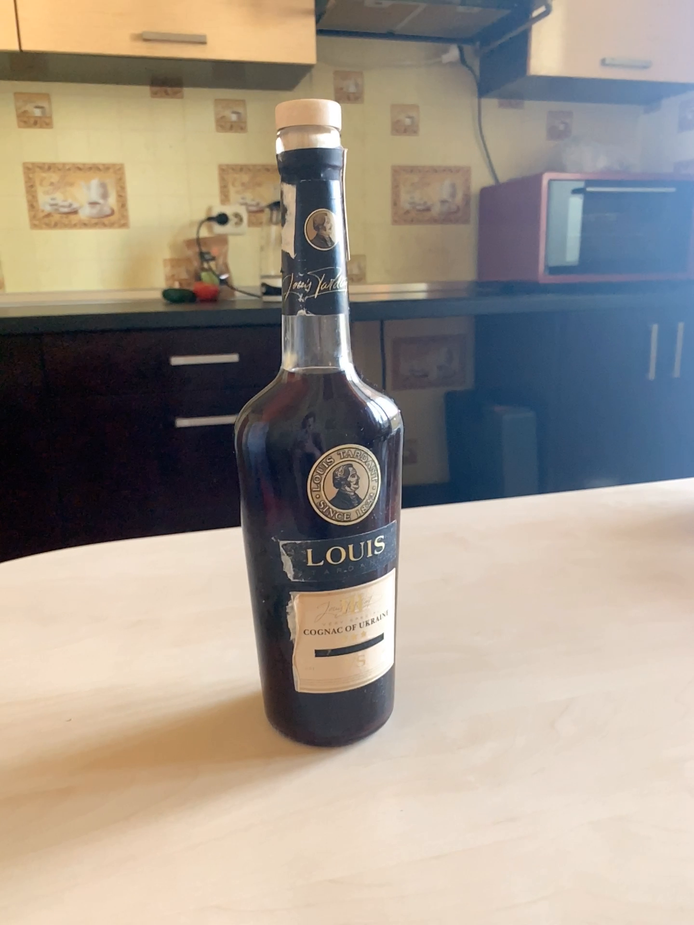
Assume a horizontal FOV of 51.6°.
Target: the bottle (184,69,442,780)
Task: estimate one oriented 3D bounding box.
[{"bbox_3d":[-0.014,-0.012,0.338,0.080,0.289,0.080,-1,15,0],"label":"bottle"}]
